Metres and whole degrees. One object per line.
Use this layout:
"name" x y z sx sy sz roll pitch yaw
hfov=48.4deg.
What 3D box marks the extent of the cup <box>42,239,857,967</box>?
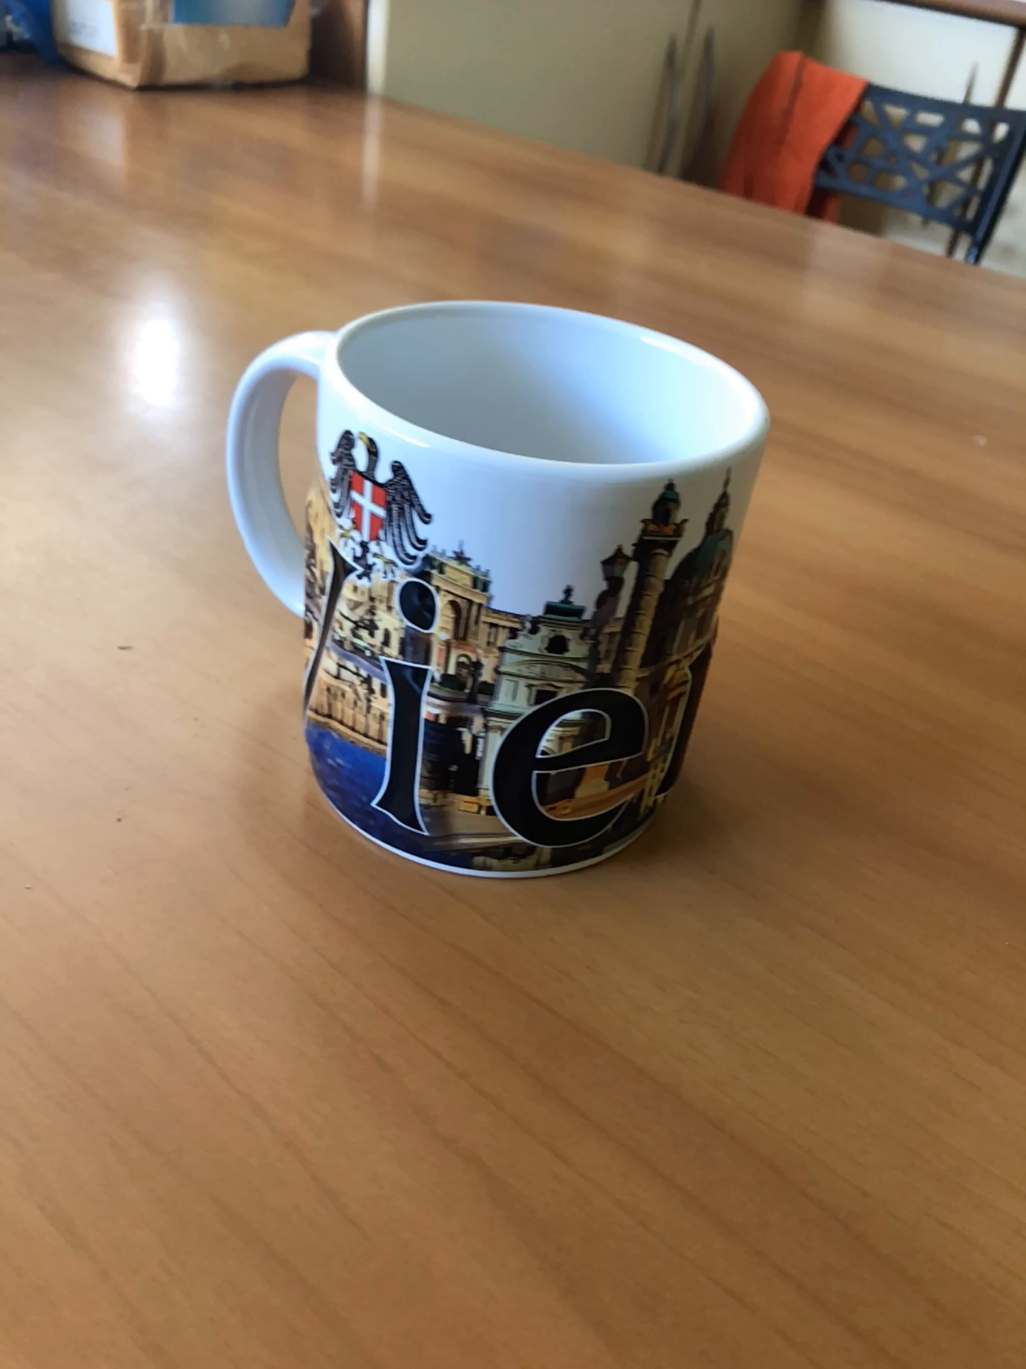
"cup" -0.018 -0.034 0.288 0.150 0.099 0.111 28 39 25
